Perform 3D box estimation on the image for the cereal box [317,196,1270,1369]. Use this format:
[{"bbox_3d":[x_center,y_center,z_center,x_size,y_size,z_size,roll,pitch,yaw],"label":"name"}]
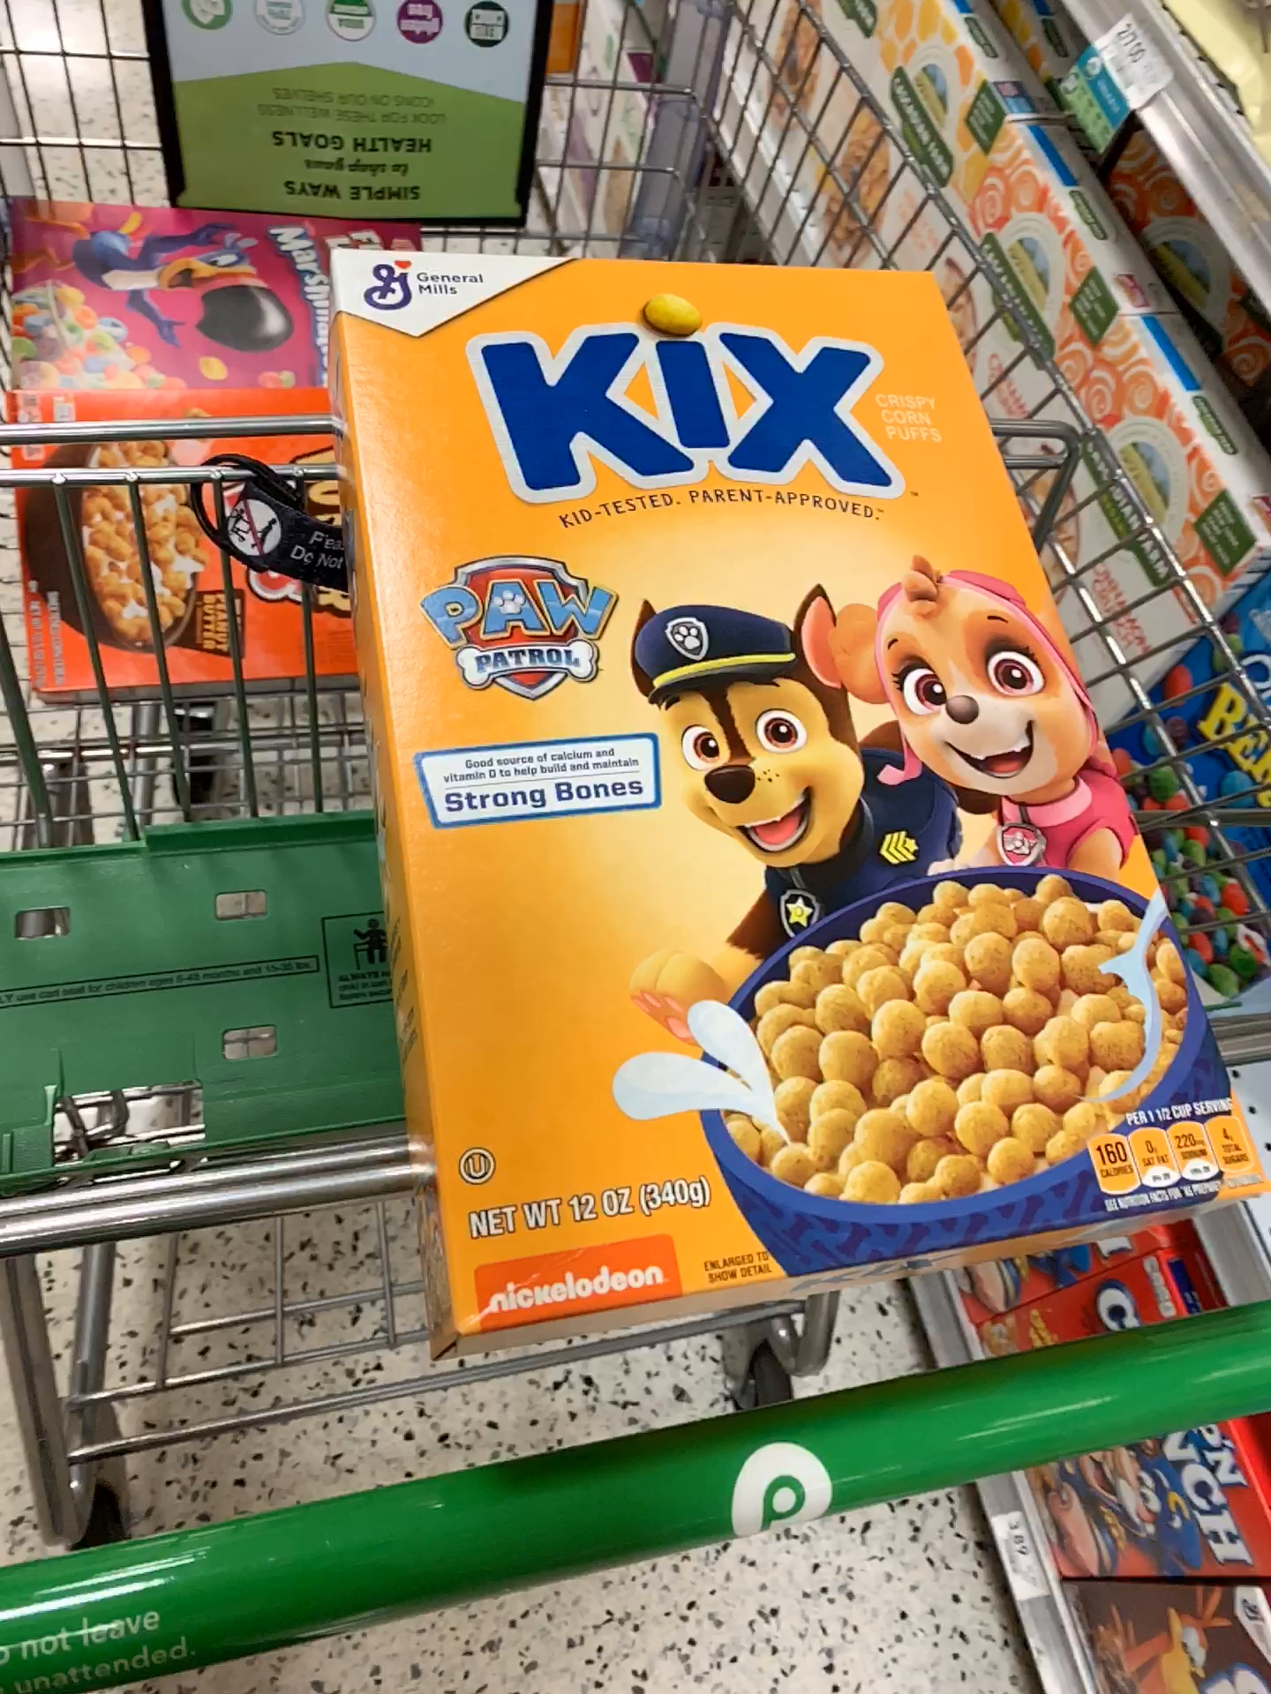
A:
[{"bbox_3d":[0.028,-0.039,0.386,0.210,0.079,0.322,-5,66,-16],"label":"cereal box"}]
